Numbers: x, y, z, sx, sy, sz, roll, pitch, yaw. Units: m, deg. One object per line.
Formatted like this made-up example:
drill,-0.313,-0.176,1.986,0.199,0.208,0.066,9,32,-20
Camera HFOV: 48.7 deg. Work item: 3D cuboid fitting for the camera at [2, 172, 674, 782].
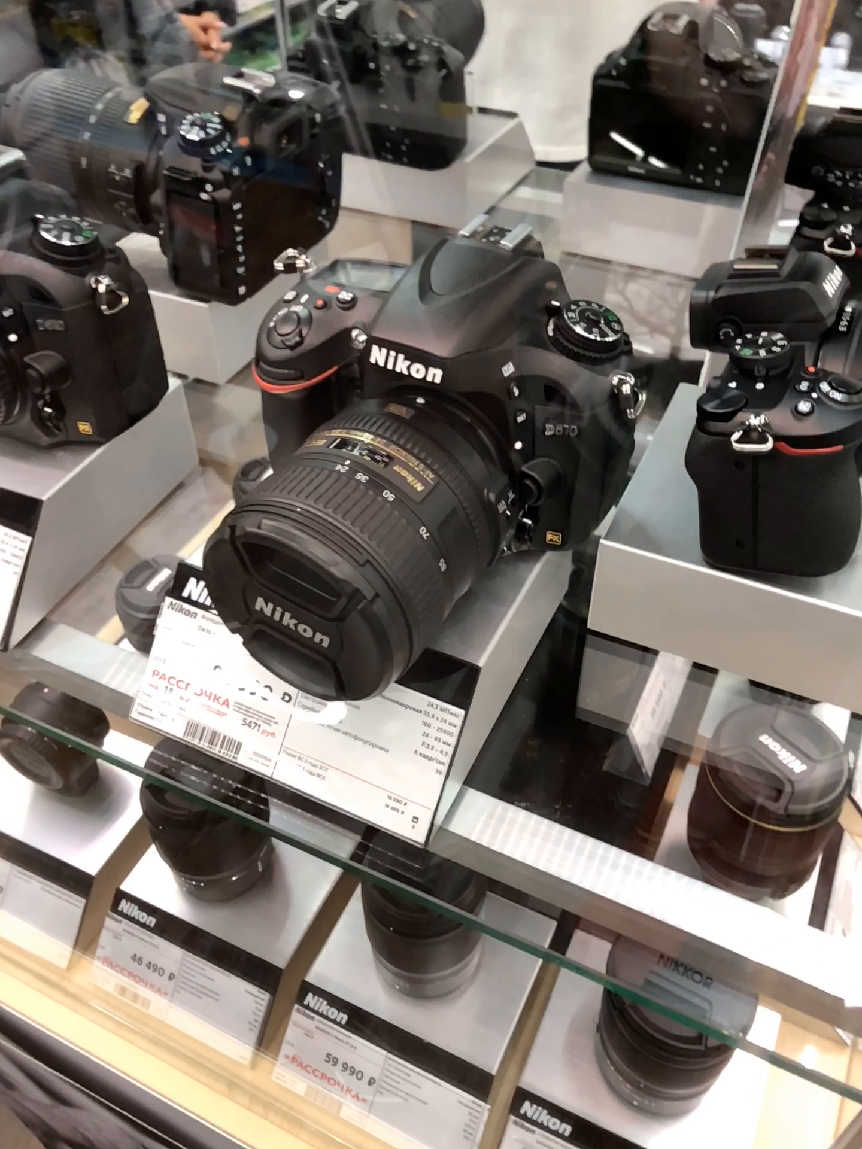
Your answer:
camera,-0.023,-0.046,0.333,0.148,0.109,0.151,24,48,24
